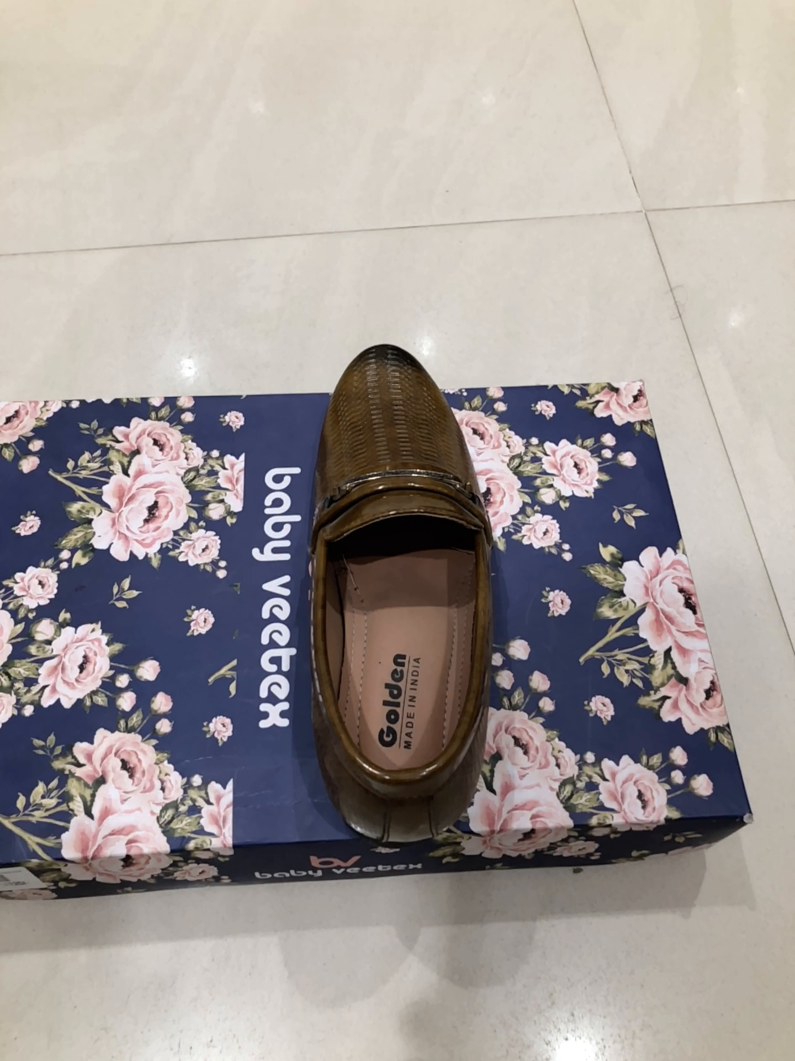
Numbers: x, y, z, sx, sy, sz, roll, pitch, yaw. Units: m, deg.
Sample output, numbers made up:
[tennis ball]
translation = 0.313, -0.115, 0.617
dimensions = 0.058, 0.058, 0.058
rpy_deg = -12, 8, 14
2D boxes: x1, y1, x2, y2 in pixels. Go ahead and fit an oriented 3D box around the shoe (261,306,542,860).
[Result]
[shoe]
translation = -0.006, 0.017, 0.363
dimensions = 0.090, 0.080, 0.211
rpy_deg = -3, 63, -3
